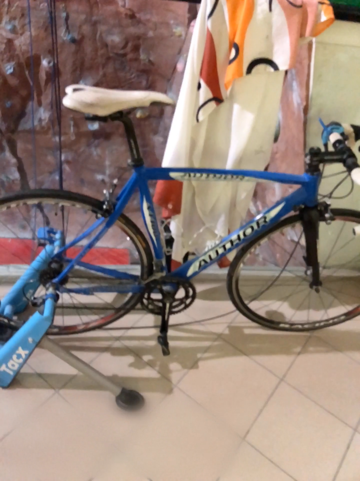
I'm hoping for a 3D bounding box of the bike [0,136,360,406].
[{"bbox_3d":[0.049,0.175,1.399,1.552,0.682,0.468,5,38,-12],"label":"bike"}]
